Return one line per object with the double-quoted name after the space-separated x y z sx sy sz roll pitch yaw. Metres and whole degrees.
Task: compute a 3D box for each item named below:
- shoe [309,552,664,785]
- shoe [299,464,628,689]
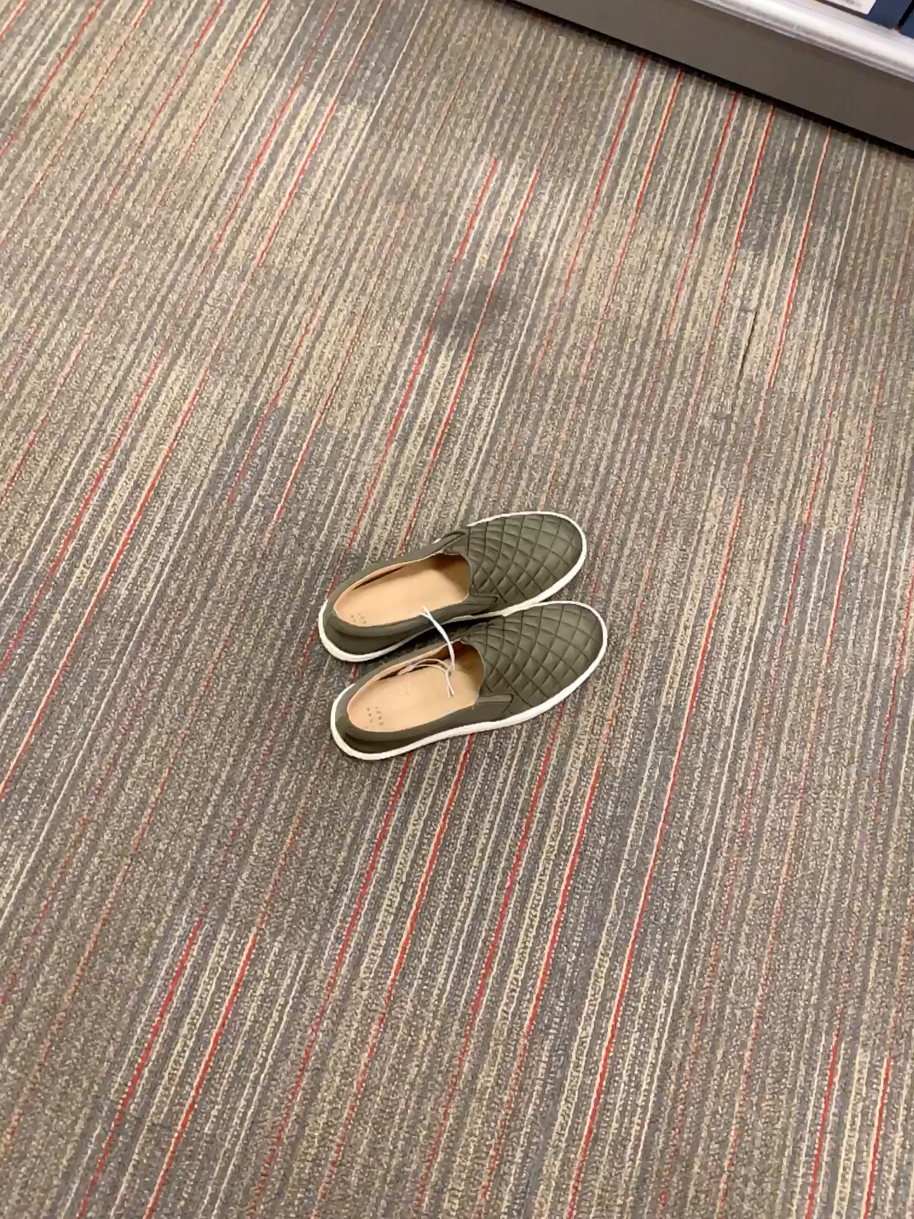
0.020 0.056 0.854 0.290 0.130 0.100 -18 76 -13 "shoe"
0.003 -0.032 0.907 0.290 0.110 0.100 -20 76 -14 "shoe"
